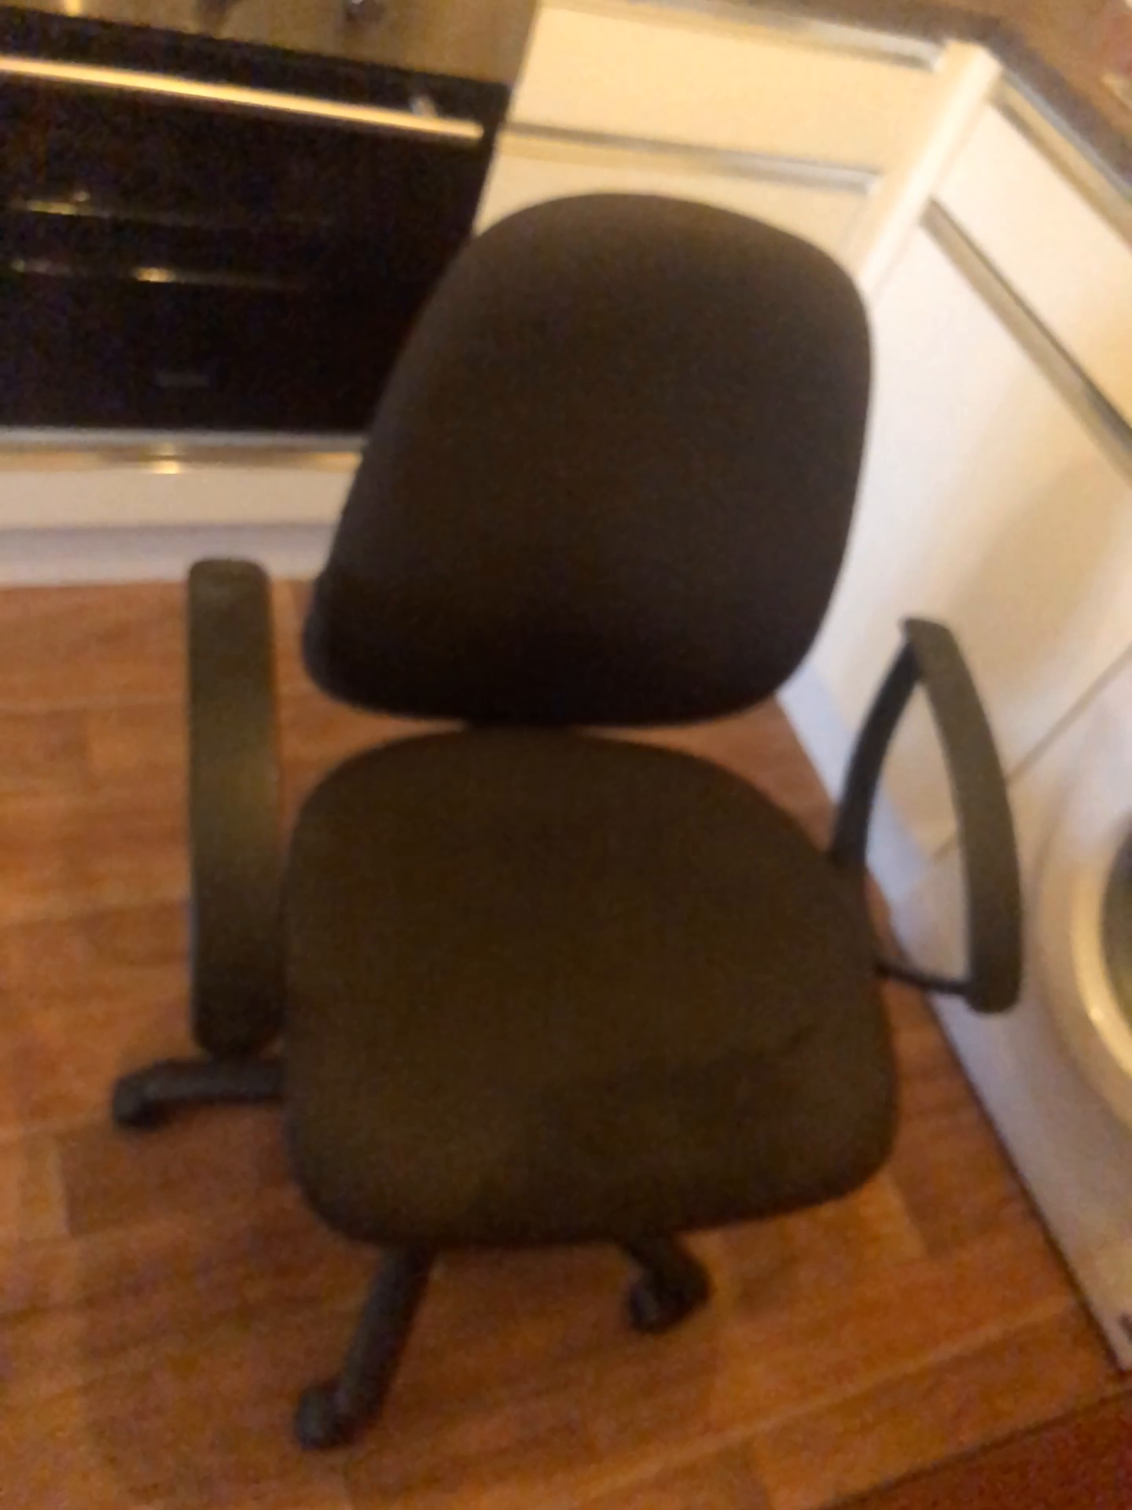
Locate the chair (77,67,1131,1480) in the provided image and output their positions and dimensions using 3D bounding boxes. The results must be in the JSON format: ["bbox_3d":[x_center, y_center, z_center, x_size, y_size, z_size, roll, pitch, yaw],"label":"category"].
[{"bbox_3d":[0.006,0.095,1.025,0.674,0.816,0.655,5,51,-20],"label":"chair"}]
